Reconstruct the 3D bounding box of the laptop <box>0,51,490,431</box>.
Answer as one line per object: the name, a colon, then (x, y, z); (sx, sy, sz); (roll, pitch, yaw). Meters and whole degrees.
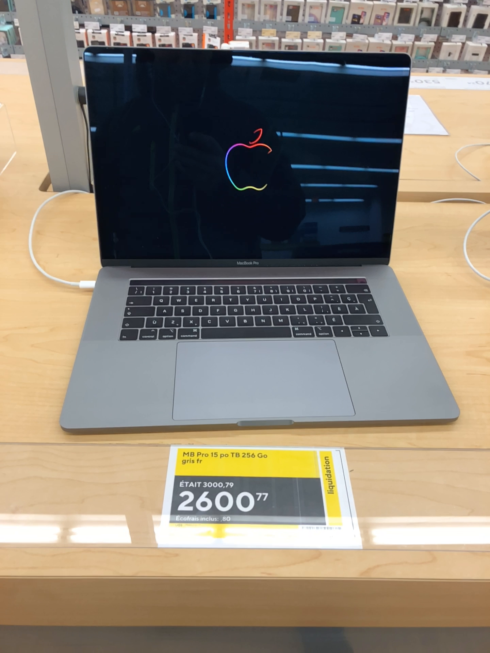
laptop: (0.013, -0.098, 0.499); (0.329, 0.212, 0.299); (-1, 40, -5)
